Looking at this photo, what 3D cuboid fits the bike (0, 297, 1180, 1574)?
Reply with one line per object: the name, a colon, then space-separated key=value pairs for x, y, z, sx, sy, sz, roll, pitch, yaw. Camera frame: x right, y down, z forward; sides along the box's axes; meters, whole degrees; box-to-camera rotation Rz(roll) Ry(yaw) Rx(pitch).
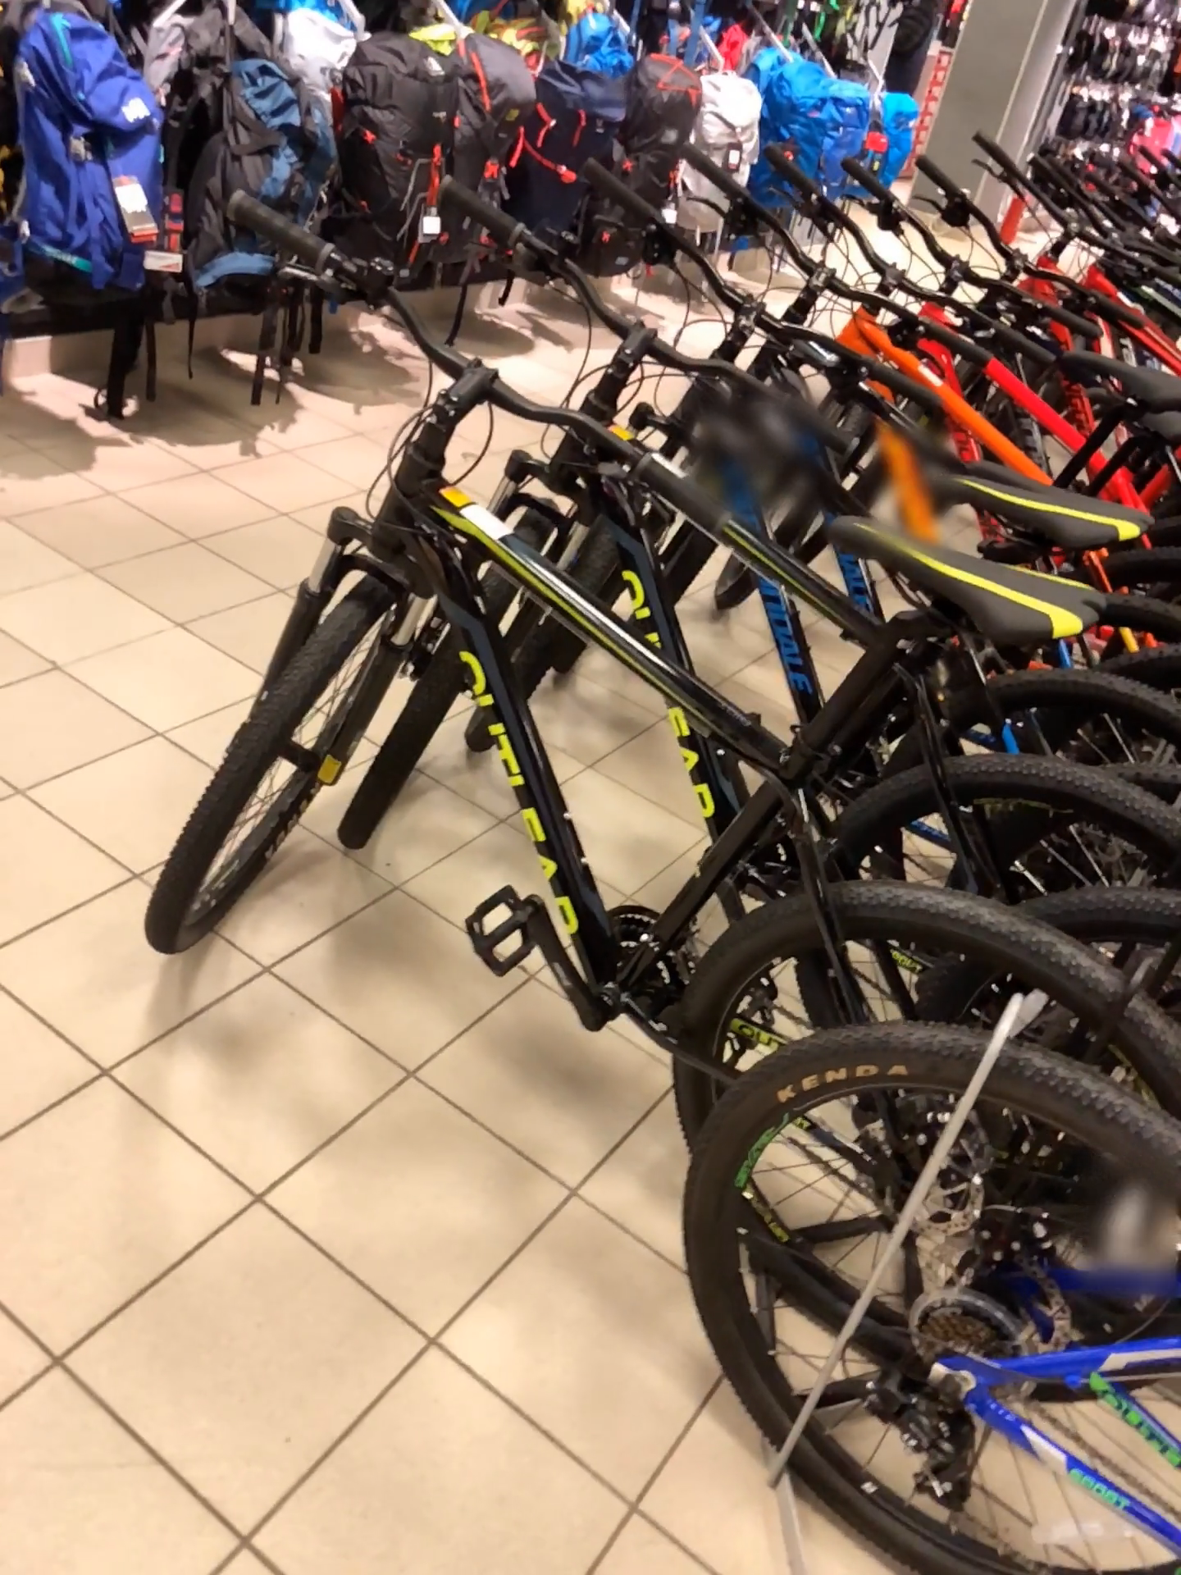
bike: x=0.071 y=0.187 z=1.380 sx=1.352 sy=1.044 sz=0.665 roll=22 pitch=33 yaw=15
